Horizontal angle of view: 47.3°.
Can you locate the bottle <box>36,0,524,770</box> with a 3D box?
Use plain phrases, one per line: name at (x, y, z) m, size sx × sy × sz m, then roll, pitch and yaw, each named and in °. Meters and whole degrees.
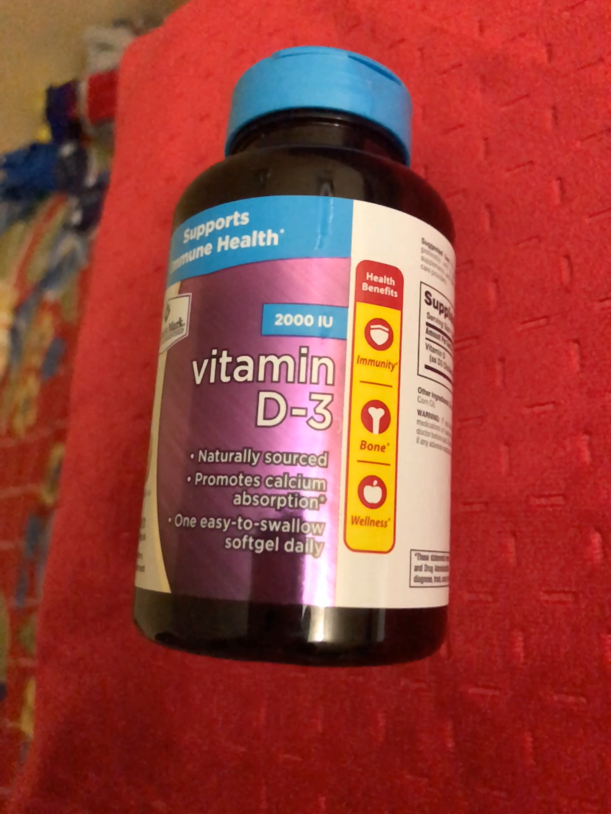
bottle at (-0.004, -0.016, 0.144) m, size 0.070 × 0.060 × 0.140 m, roll -8°, pitch 76°, yaw 43°
